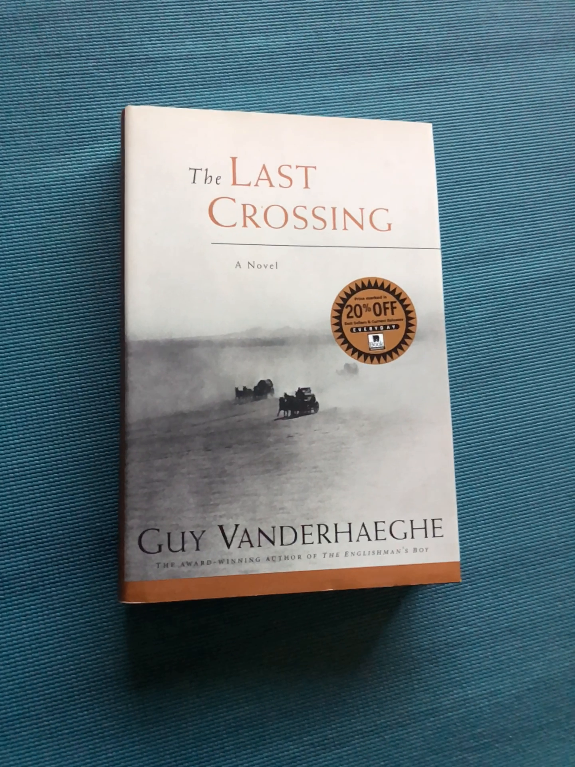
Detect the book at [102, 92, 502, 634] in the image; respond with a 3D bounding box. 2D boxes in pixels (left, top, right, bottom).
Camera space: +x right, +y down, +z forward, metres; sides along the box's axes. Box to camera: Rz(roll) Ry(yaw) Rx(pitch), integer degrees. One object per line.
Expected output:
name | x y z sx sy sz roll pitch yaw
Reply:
book | 0.003 -0.014 0.301 0.170 0.040 0.230 -1 81 -11
